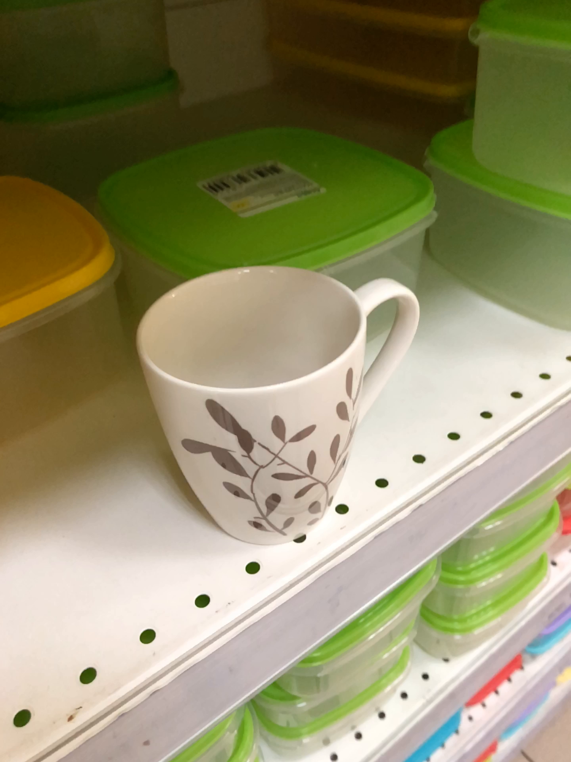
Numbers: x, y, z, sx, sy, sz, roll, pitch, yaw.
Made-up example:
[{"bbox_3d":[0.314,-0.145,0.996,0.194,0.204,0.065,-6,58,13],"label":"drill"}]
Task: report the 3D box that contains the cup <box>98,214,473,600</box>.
[{"bbox_3d":[0.003,0.004,0.280,0.121,0.097,0.086,-31,48,-29],"label":"cup"}]
